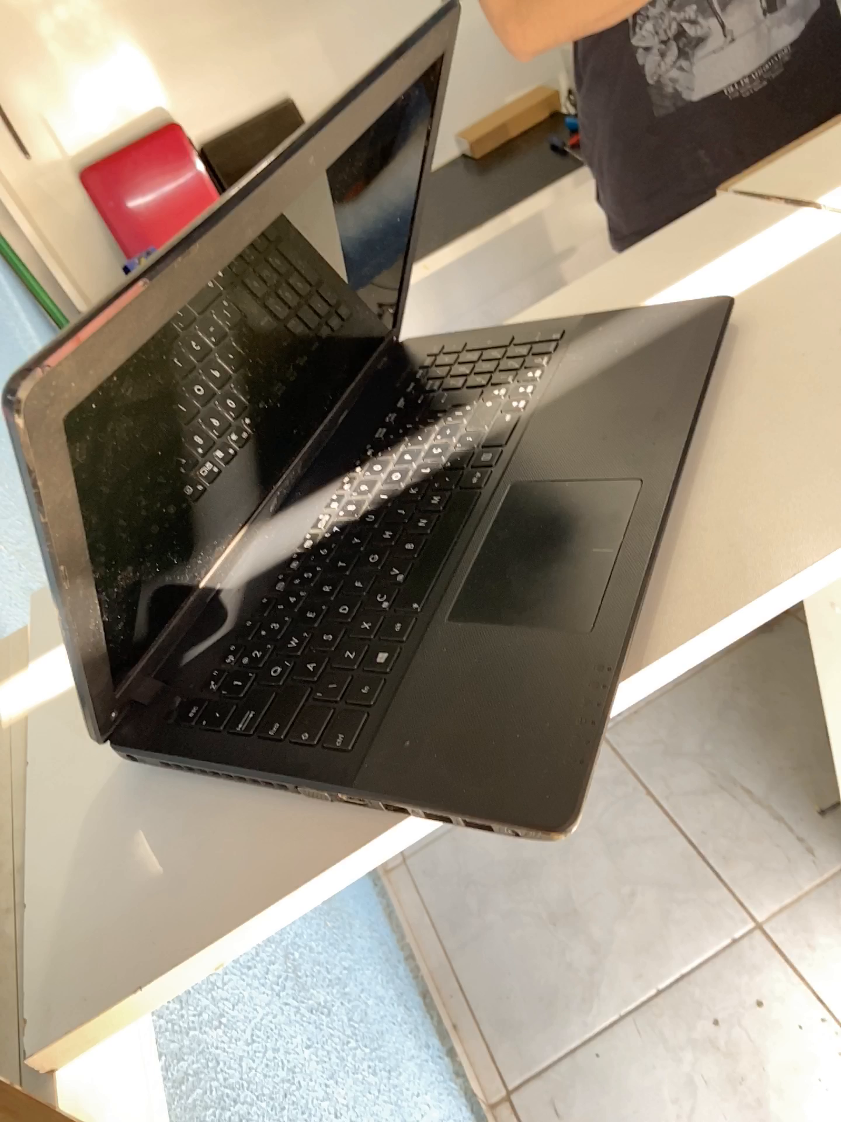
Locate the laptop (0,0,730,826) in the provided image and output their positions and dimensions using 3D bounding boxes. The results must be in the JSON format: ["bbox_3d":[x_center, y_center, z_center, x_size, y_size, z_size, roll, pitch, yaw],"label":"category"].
[{"bbox_3d":[-0.021,-0.105,0.433,0.239,0.190,0.374,0,44,32],"label":"laptop"}]
